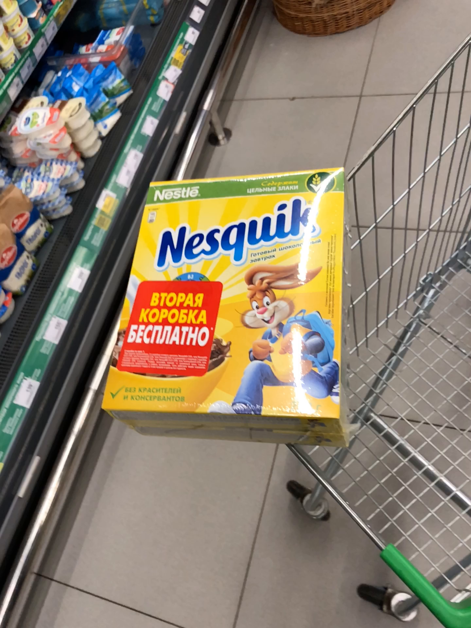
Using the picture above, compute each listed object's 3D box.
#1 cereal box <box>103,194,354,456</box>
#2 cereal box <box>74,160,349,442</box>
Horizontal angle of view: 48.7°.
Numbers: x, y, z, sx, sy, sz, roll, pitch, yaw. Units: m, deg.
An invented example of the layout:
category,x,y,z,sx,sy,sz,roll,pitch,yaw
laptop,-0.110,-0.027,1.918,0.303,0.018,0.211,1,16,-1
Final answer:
category,x,y,z,sx,sy,sz,roll,pitch,yaw
cereal box,0.005,0.003,0.499,0.210,0.050,0.241,0,63,15
cereal box,-0.009,-0.019,0.461,0.210,0.050,0.241,0,63,15
